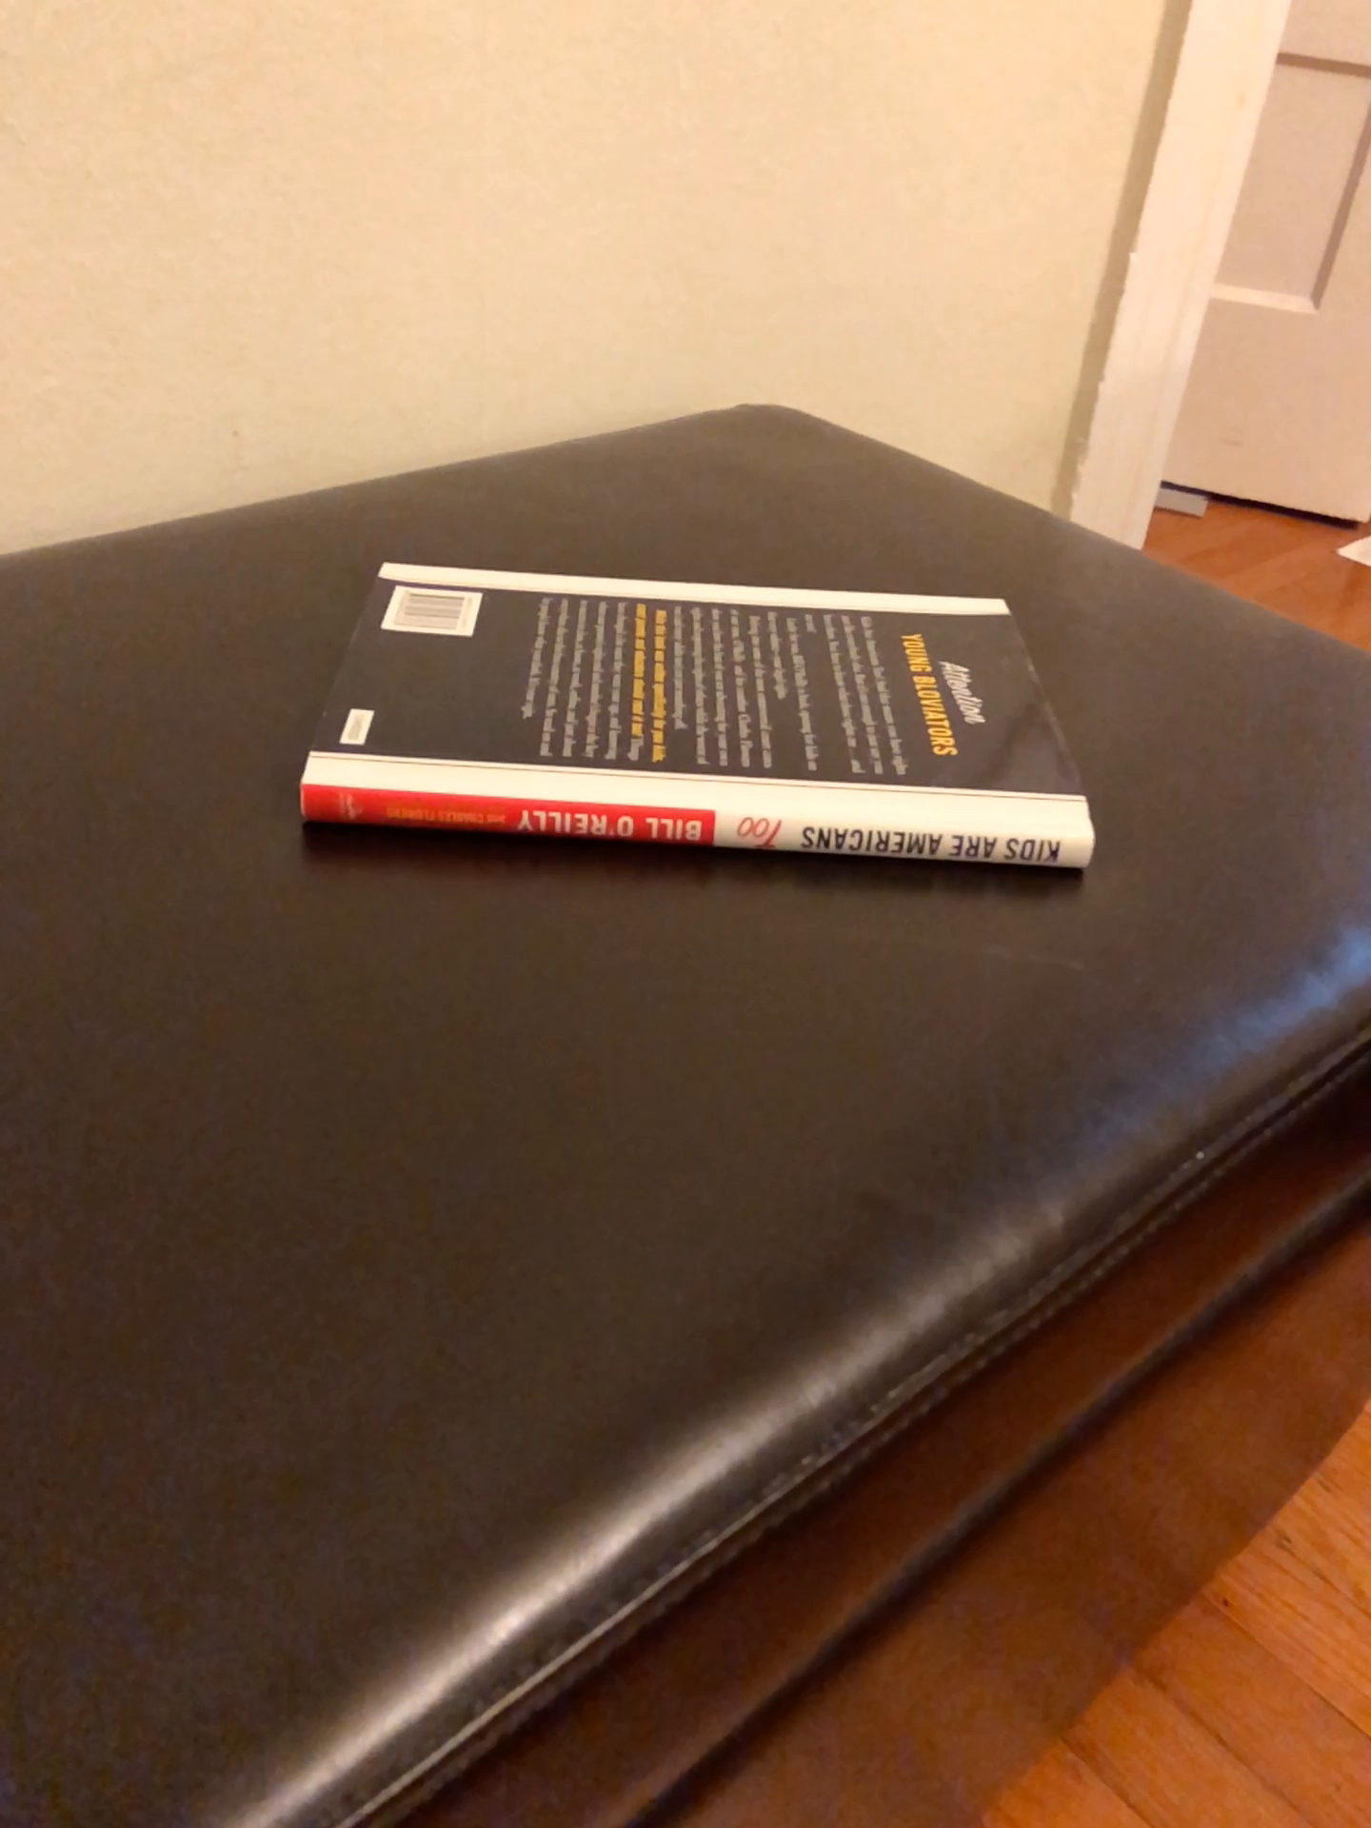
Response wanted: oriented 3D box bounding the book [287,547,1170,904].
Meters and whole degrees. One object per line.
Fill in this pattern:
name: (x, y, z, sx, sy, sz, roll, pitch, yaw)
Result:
book: (0.010, -0.064, 0.462, 0.230, 0.020, 0.161, 3, 36, -4)
